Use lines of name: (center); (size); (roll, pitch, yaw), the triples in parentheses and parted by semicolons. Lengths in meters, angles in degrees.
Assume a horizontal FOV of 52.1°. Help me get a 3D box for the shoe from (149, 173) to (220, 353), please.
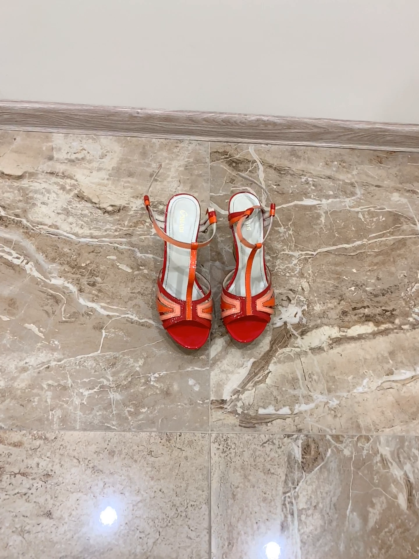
shoe: (-0.040, -0.024, 0.622); (0.083, 0.140, 0.218); (-1, 59, -5)

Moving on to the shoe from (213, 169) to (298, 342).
shoe: (0.057, -0.036, 0.631); (0.080, 0.130, 0.218); (-1, 59, -5)
